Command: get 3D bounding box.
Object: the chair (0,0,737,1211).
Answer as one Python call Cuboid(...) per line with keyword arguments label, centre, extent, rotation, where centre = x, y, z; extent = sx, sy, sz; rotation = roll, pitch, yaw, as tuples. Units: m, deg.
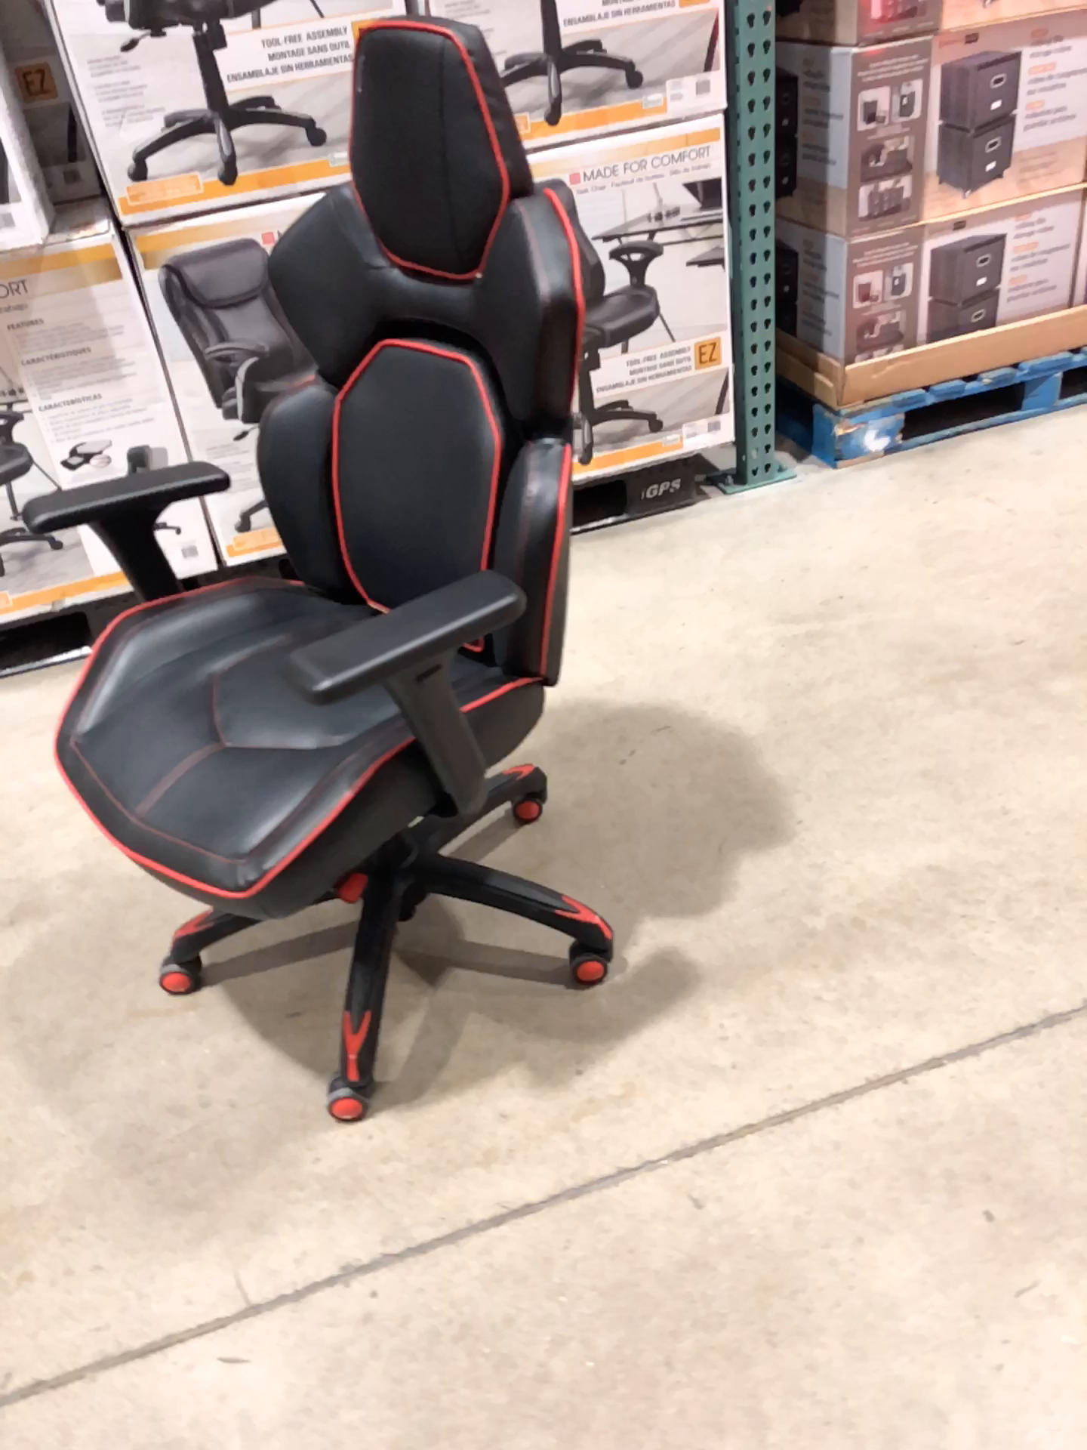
Cuboid(label="chair", centre=(-0.272, -0.183, 1.497), extent=(0.722, 1.145, 0.721), rotation=(21, 44, 36))
